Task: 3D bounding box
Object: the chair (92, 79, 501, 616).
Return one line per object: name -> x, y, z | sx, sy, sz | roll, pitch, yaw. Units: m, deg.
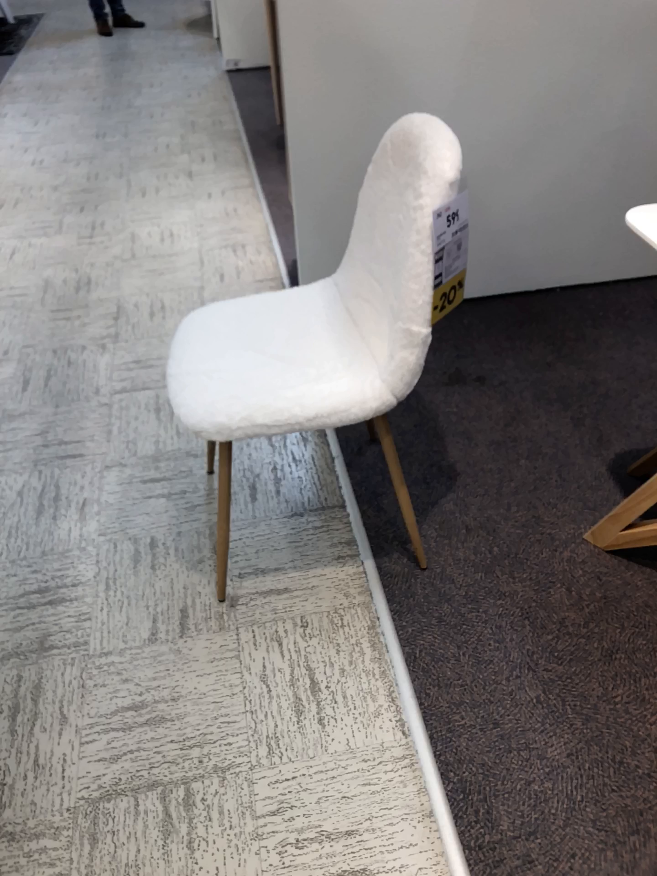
chair -> -0.071, -0.170, 1.410 | 0.551, 0.815, 0.523 | -10, 40, -8
